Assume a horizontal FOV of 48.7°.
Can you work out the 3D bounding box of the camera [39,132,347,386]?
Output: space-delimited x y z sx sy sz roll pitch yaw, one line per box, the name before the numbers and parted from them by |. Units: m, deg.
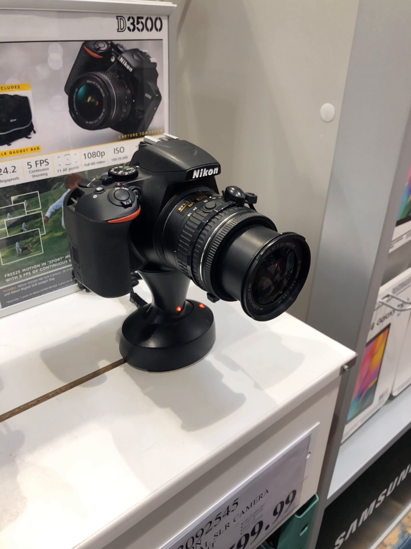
camera | -0.012 -0.028 0.300 0.130 0.089 0.141 -22 37 -36
